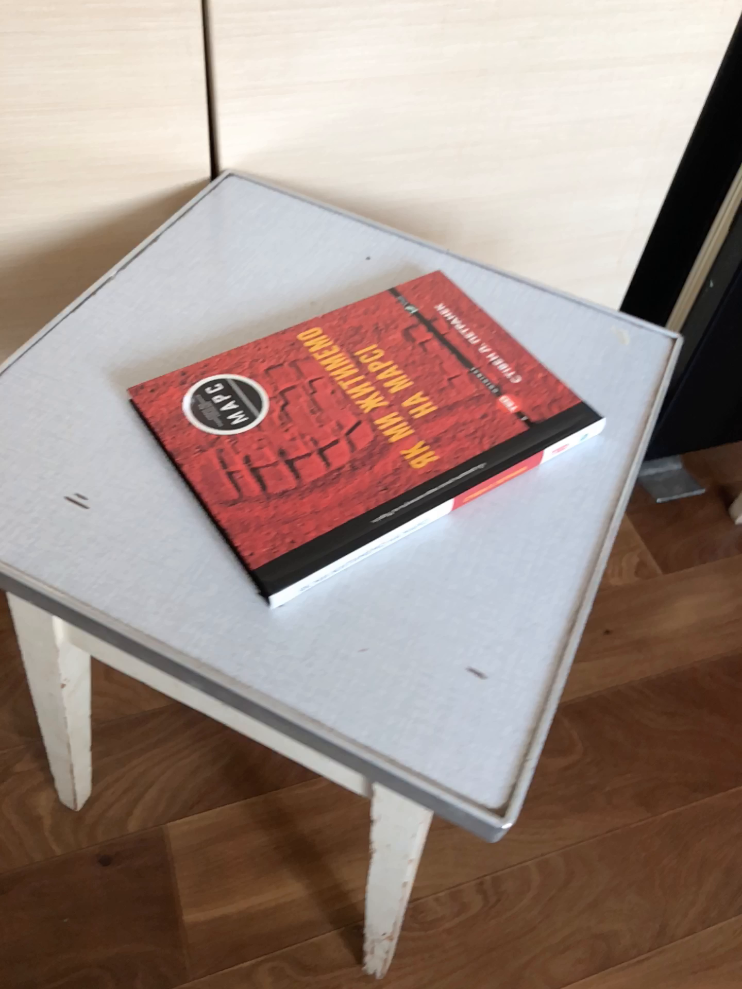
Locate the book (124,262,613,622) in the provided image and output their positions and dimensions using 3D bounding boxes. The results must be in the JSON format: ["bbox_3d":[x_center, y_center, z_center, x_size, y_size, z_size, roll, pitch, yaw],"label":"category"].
[{"bbox_3d":[0.000,-0.043,0.436,0.209,0.020,0.150,-26,60,-24],"label":"book"}]
